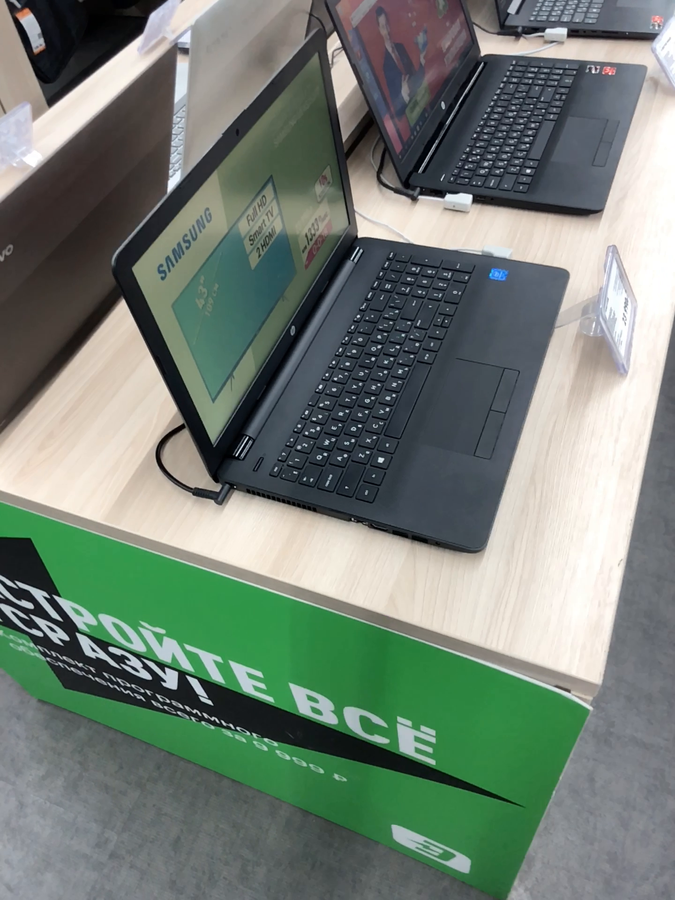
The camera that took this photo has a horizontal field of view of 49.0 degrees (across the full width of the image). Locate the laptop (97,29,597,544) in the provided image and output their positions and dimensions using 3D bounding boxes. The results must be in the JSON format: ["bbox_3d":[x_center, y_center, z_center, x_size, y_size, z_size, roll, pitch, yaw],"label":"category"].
[{"bbox_3d":[0.040,-0.163,0.654,0.273,0.222,0.363,14,53,16],"label":"laptop"}]
